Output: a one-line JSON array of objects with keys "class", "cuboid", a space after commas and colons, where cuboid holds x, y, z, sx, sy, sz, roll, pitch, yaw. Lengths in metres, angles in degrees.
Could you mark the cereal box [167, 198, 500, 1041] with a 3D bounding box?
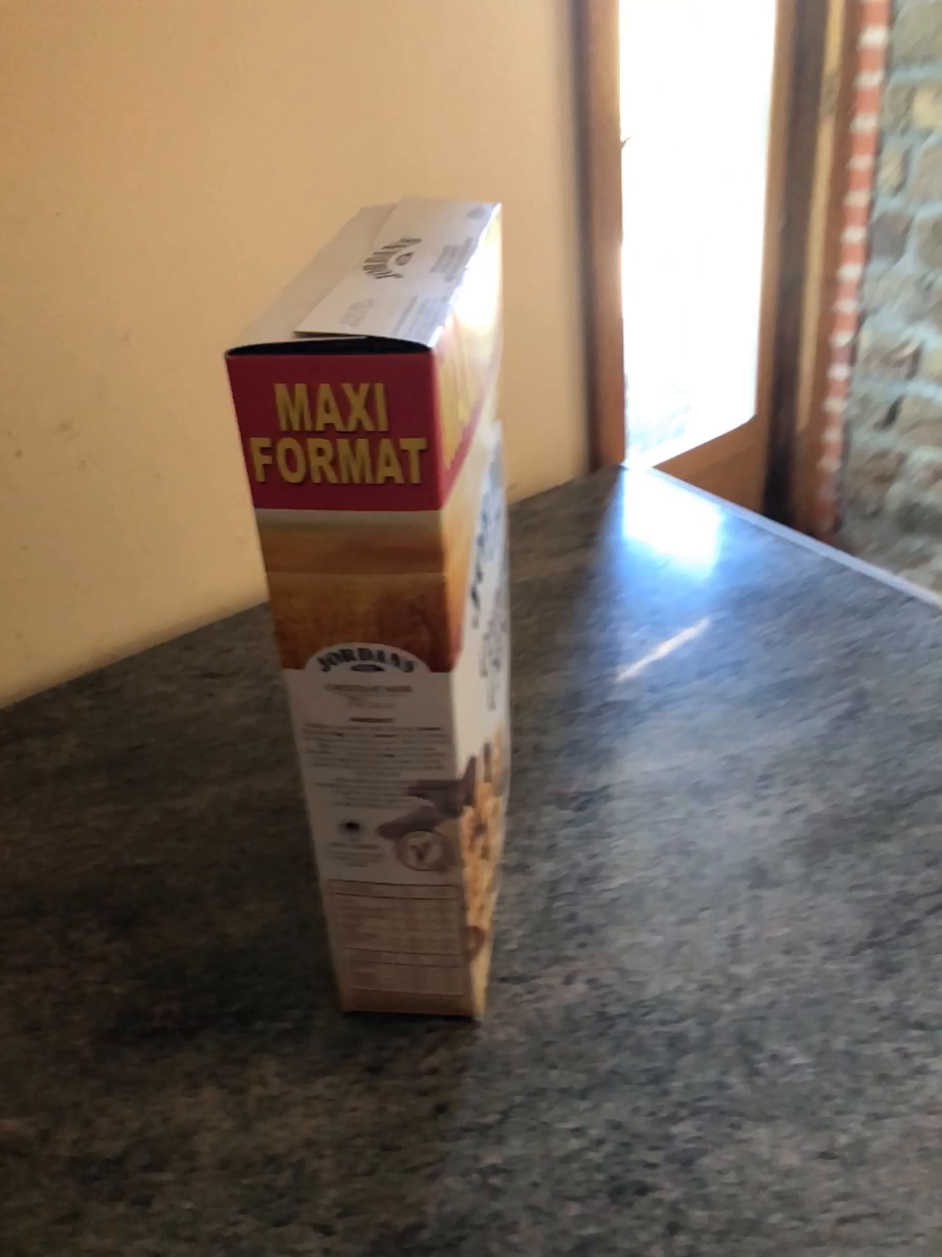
[{"class": "cereal box", "cuboid": [-0.033, -0.006, 0.448, 0.070, 0.298, 0.201, 1, 33, 6]}]
